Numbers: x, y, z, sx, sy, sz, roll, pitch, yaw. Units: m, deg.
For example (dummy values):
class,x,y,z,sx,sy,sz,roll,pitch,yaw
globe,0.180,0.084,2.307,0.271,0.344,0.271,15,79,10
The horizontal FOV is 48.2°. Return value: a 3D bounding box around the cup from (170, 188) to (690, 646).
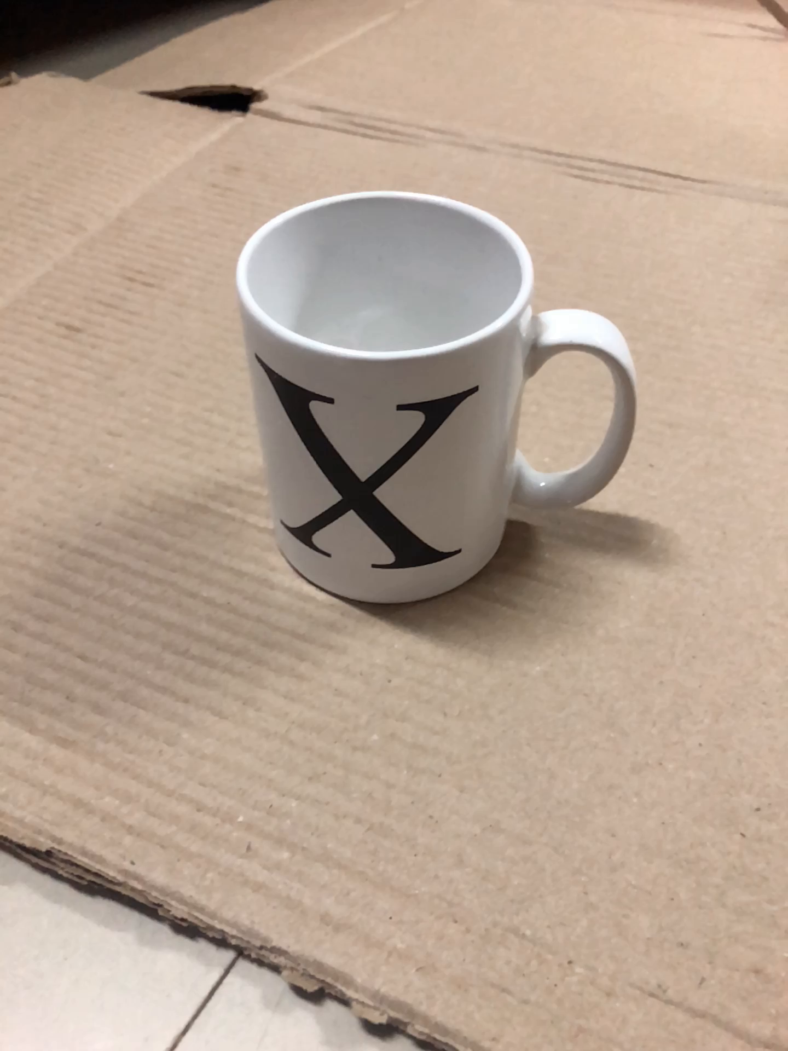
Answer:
class,x,y,z,sx,sy,sz,roll,pitch,yaw
cup,0.010,-0.031,0.246,0.110,0.089,0.081,4,43,4
